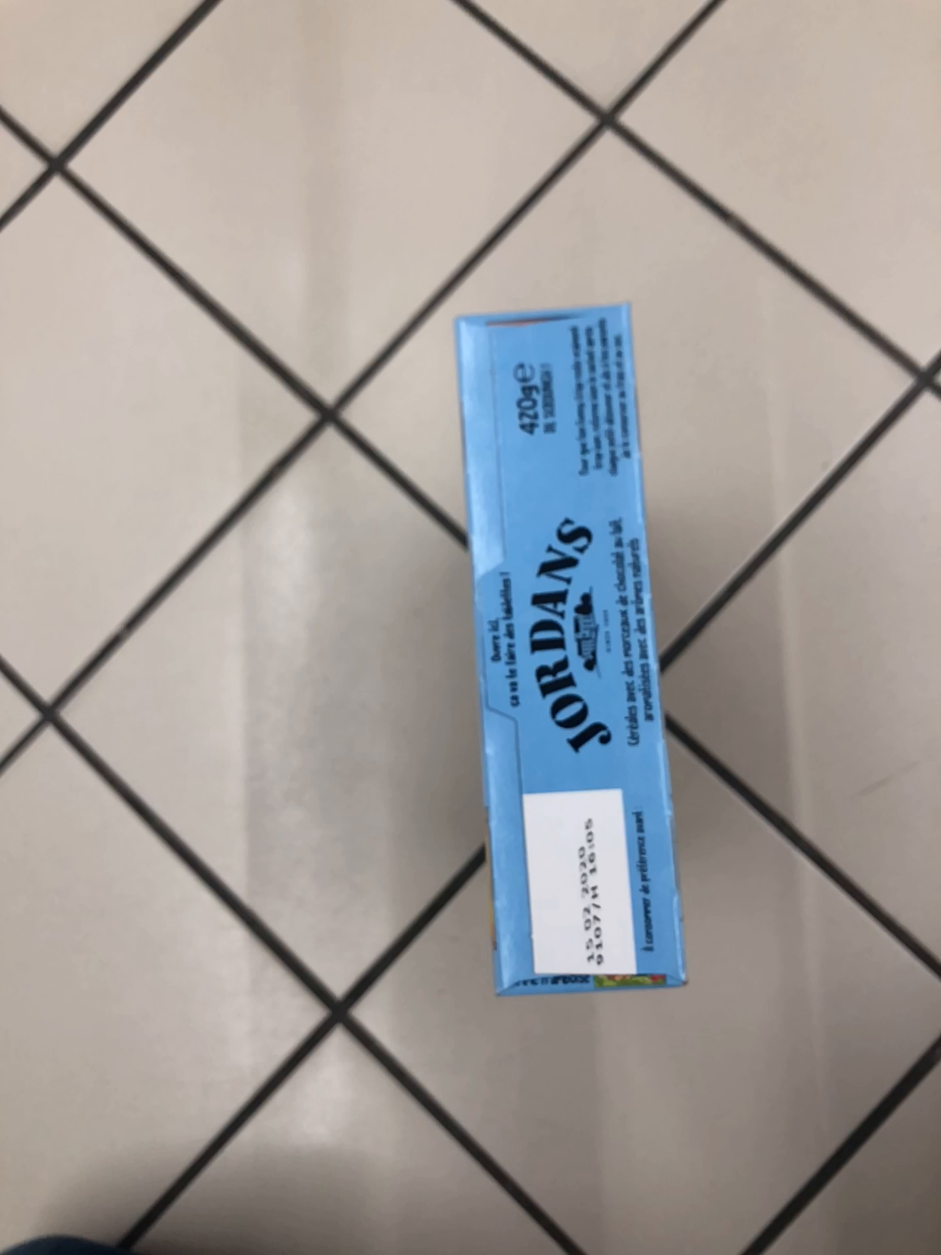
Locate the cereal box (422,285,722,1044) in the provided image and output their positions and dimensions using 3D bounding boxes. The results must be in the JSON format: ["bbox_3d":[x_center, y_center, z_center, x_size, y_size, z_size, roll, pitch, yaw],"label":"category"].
[{"bbox_3d":[0.034,0.018,0.369,0.060,0.230,0.180,-4,83,5],"label":"cereal box"}]
